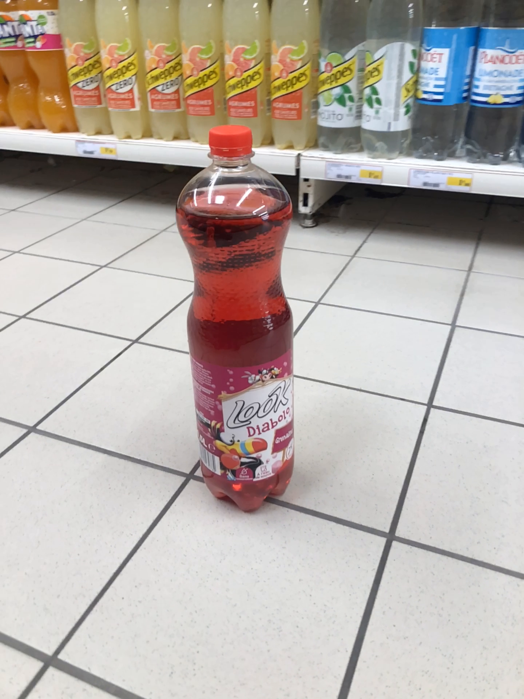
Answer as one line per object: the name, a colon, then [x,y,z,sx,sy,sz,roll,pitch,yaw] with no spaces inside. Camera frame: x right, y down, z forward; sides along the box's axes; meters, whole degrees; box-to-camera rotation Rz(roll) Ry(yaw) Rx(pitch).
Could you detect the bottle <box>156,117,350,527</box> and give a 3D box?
bottle: [-0.006,-0.016,0.474,0.100,0.308,0.100,-1,30,1]
